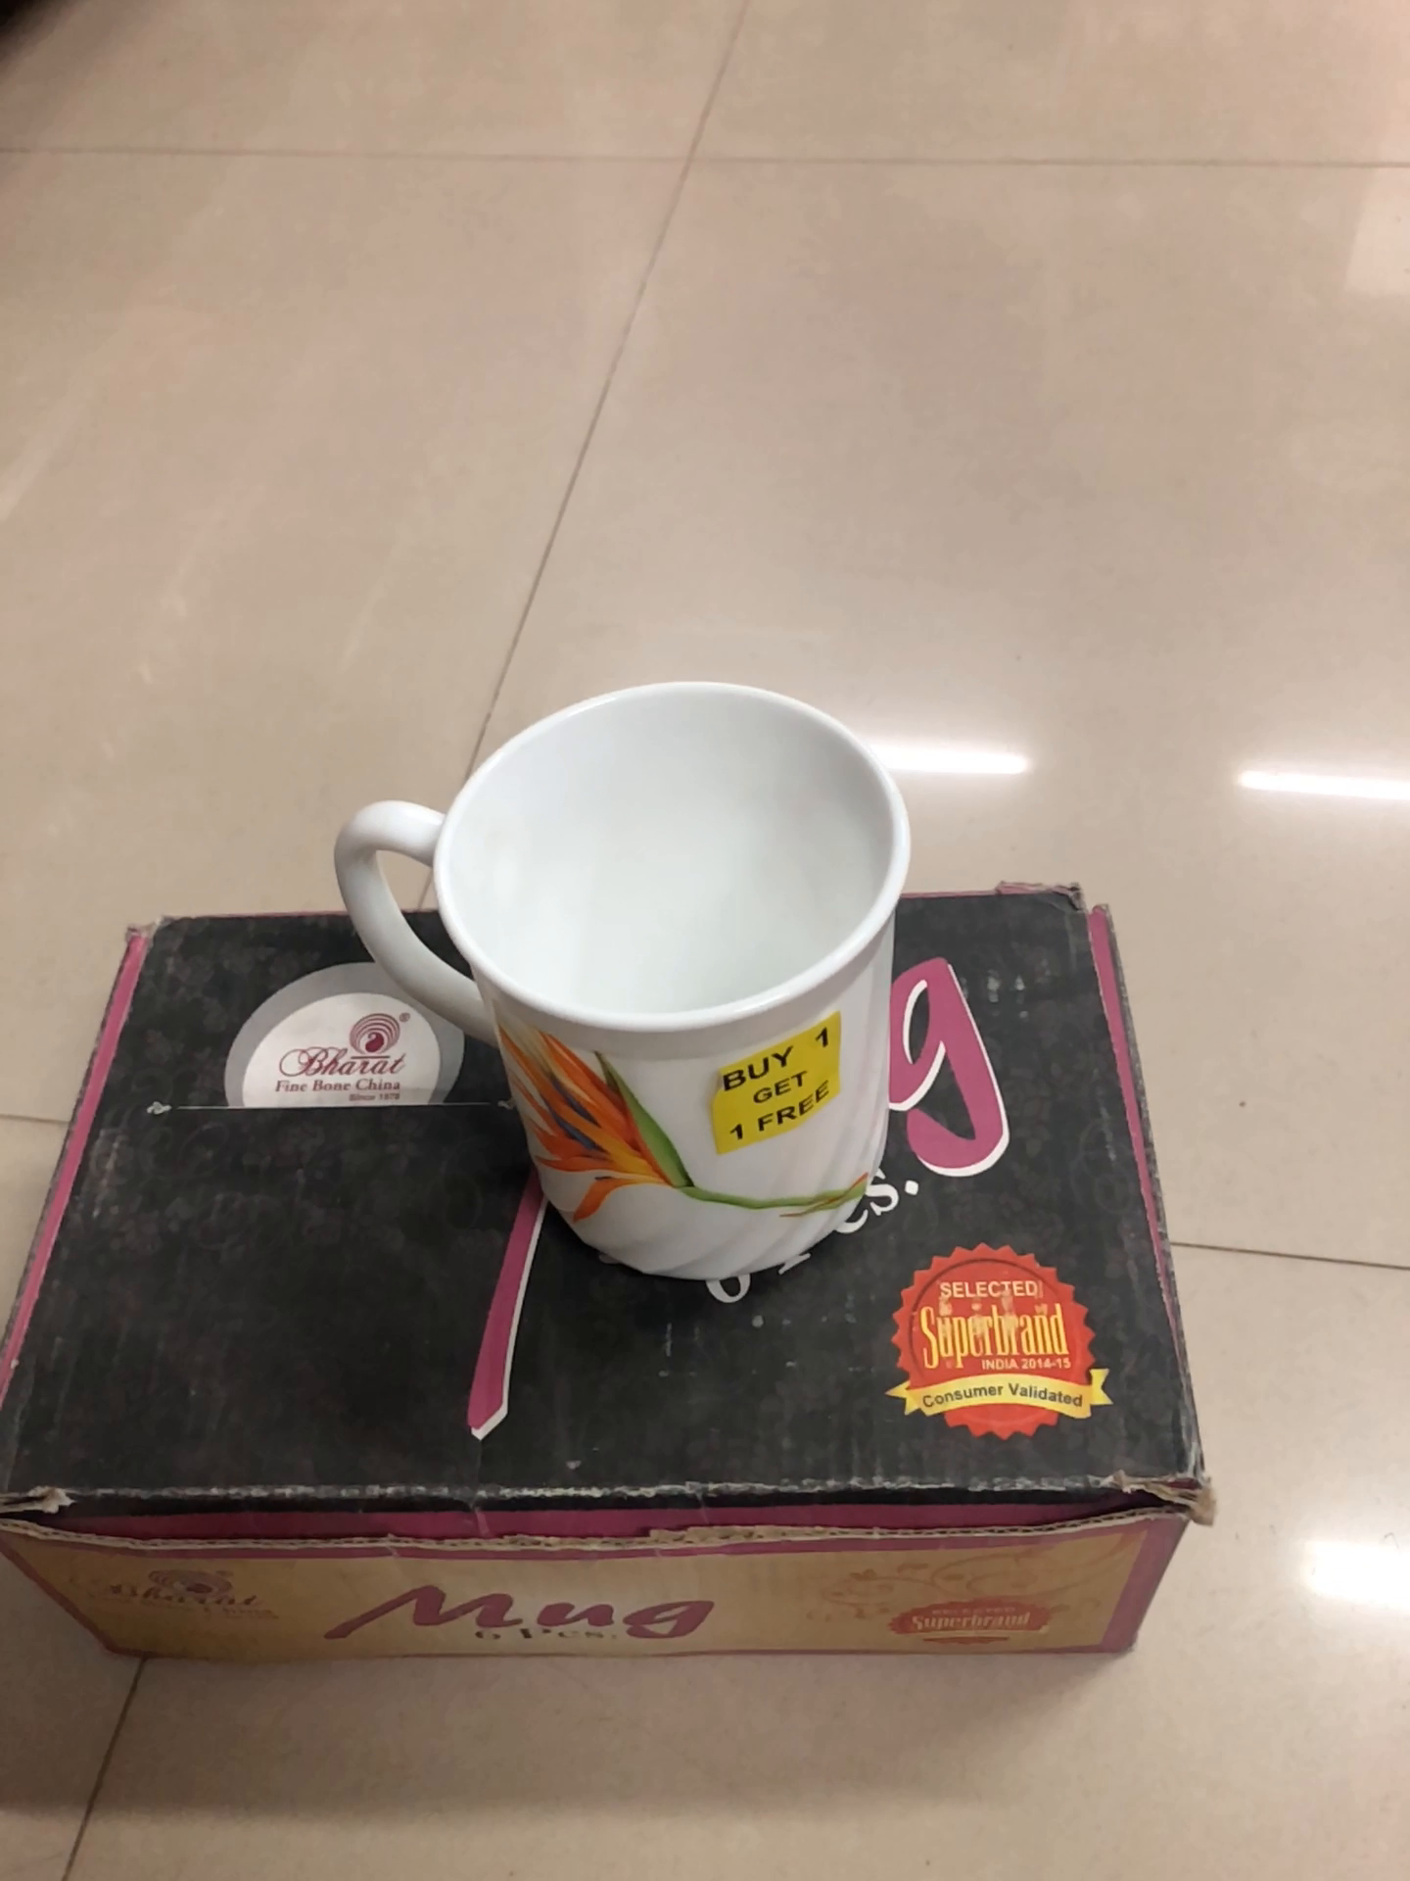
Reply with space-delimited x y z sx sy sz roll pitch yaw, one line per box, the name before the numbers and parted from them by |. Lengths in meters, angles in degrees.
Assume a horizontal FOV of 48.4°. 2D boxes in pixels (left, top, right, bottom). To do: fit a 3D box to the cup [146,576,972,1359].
cup | -0.019 0.004 0.286 0.110 0.089 0.080 15 52 16
